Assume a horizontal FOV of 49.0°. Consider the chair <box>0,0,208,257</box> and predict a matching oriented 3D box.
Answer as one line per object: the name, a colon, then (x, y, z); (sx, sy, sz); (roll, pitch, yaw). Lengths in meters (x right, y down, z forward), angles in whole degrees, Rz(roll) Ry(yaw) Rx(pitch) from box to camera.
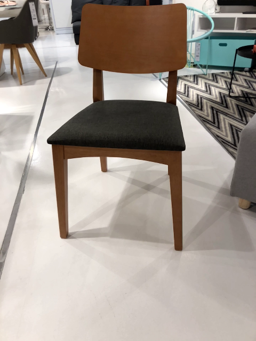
chair: (-0.009, -0.200, 1.106); (0.530, 0.804, 0.584); (4, 32, 11)
